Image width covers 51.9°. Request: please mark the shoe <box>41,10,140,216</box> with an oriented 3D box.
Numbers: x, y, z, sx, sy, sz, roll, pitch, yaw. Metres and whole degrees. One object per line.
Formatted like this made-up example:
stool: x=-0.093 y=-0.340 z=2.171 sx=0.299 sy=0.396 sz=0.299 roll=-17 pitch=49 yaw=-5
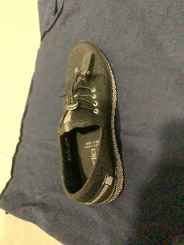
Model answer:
shoe: x=-0.007 y=-0.013 z=0.320 sx=0.100 sy=0.090 sz=0.290 roll=-14 pitch=77 yaw=31
